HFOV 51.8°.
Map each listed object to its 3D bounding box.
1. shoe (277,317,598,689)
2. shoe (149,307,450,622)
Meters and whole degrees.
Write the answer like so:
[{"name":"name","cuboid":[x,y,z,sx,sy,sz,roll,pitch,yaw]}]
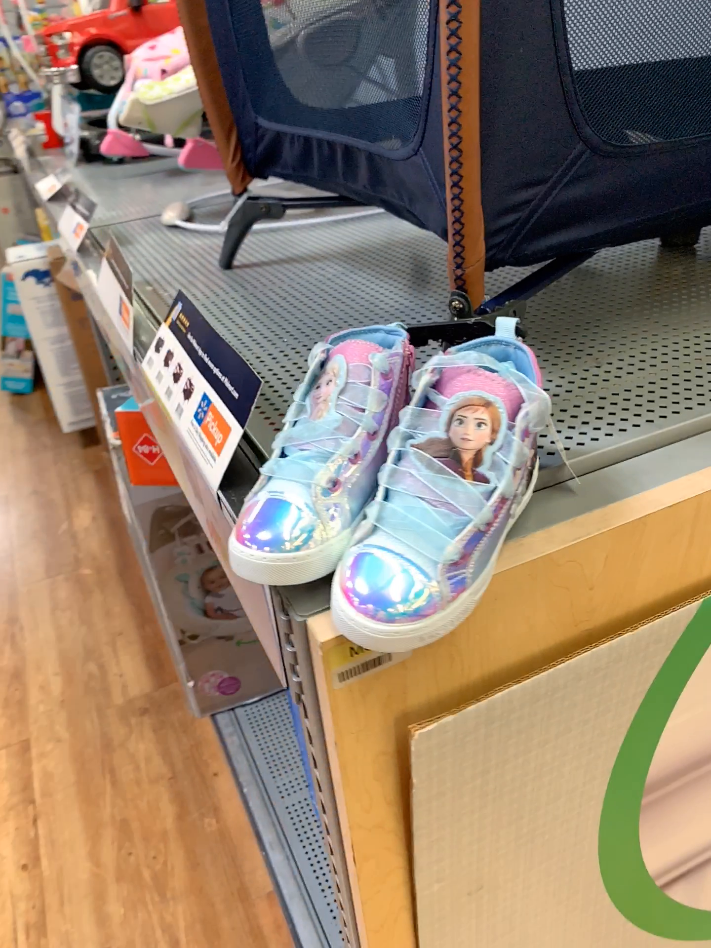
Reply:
[{"name":"shoe","cuboid":[0.052,0.002,0.401,0.090,0.102,0.183,19,39,26]},{"name":"shoe","cuboid":[-0.019,-0.018,0.443,0.080,0.102,0.183,14,36,29]}]
